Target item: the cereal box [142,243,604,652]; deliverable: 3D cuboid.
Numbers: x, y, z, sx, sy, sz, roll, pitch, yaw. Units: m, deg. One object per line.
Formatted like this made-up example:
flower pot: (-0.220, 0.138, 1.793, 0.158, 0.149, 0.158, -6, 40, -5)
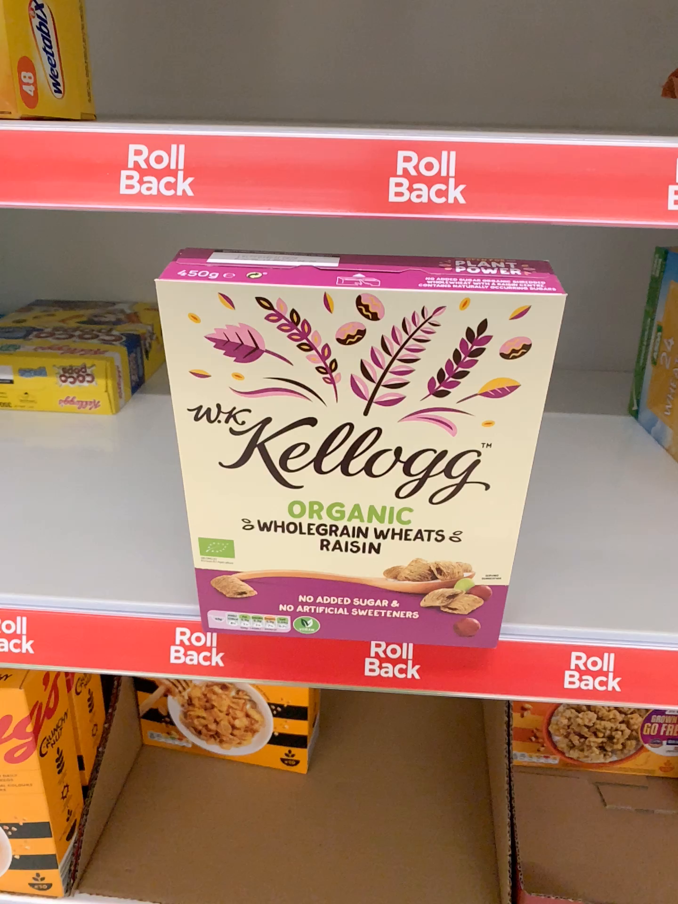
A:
cereal box: (0.015, 0.005, 0.385, 0.200, 0.218, 0.061, 2, 31, 3)
